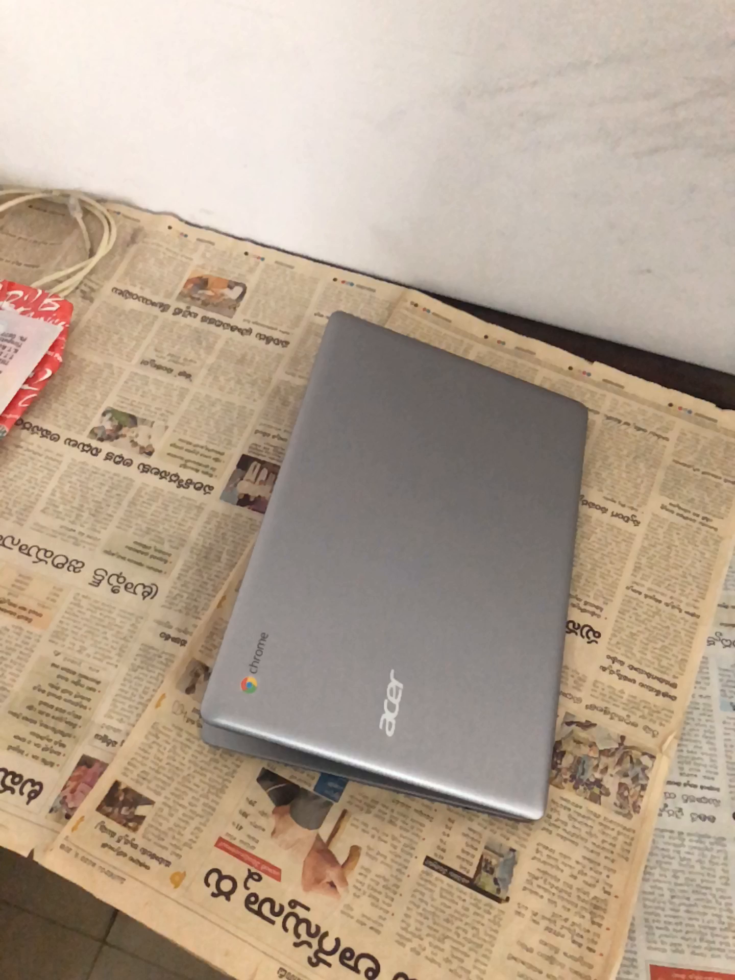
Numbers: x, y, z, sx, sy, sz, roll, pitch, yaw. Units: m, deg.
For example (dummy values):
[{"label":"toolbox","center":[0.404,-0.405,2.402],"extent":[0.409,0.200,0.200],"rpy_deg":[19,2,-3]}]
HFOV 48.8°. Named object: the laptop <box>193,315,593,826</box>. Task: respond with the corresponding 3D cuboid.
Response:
[{"label":"laptop","center":[0.035,0.035,0.578],"extent":[0.210,0.058,0.331],"rpy_deg":[12,59,6]}]
